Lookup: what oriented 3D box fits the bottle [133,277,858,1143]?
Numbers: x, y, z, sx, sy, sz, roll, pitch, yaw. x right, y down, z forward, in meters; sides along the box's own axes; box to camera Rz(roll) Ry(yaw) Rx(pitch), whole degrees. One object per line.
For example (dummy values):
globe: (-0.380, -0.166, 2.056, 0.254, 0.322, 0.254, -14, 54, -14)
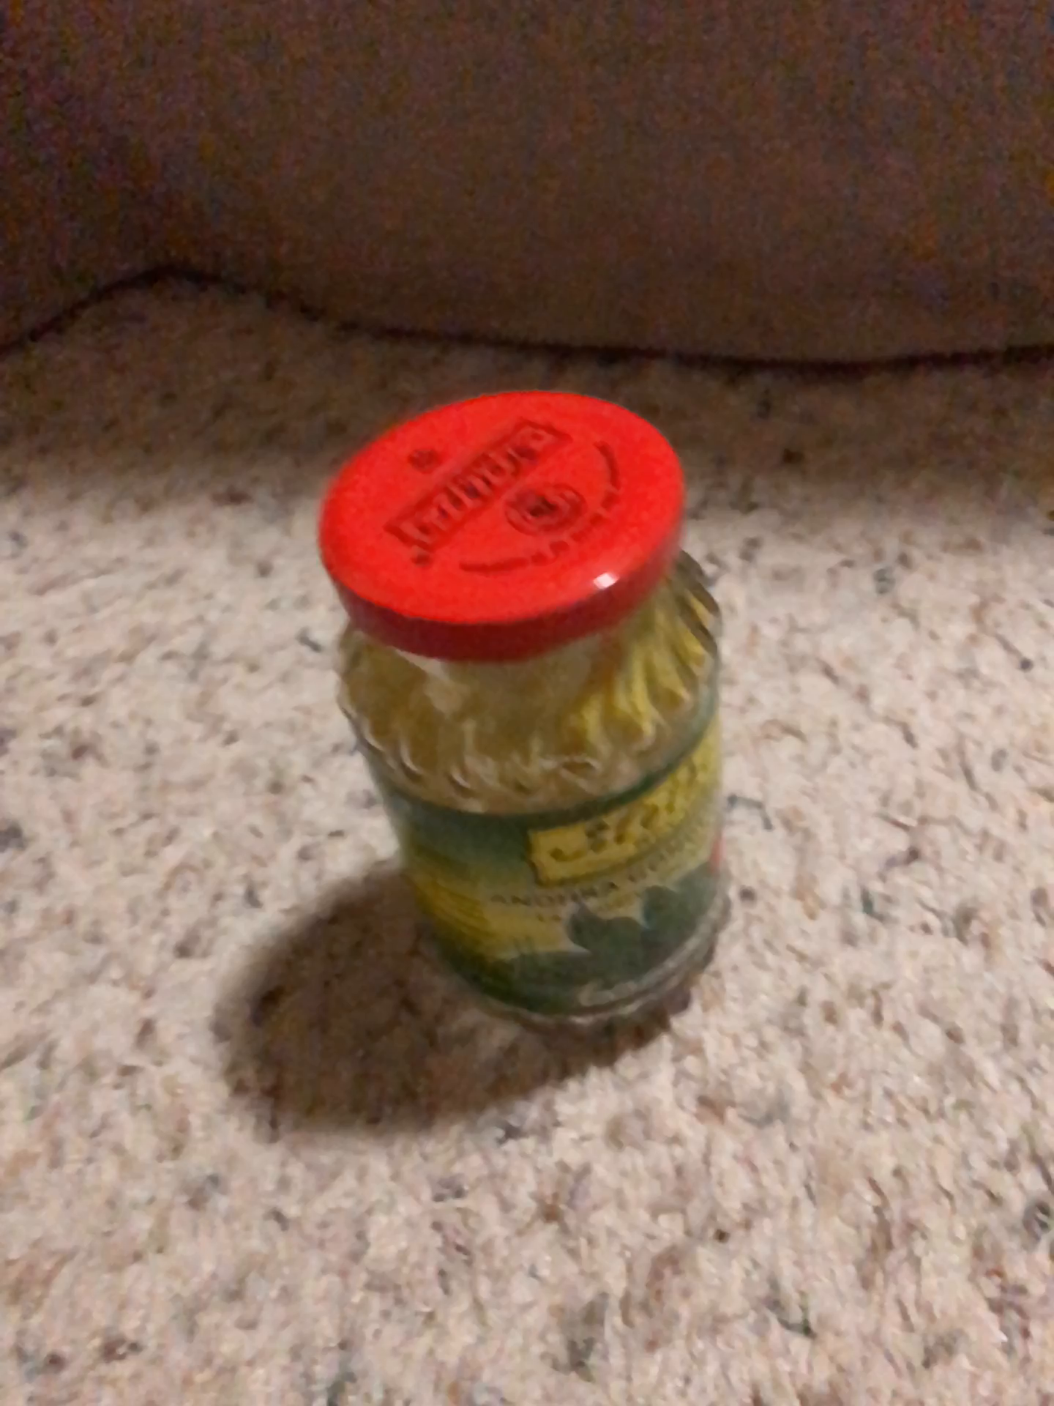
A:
bottle: (0.001, 0.004, 0.200, 0.070, 0.110, 0.070, -5, 48, 5)
